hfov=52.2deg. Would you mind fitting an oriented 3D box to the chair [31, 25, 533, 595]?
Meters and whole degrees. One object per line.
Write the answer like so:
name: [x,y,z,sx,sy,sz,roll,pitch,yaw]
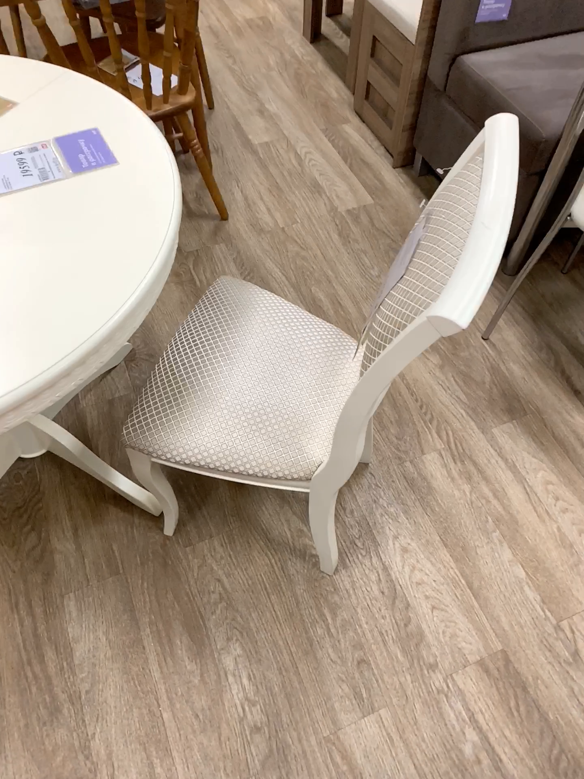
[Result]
chair: [0.016,-0.048,1.106,0.510,0.906,0.462,14,56,8]
